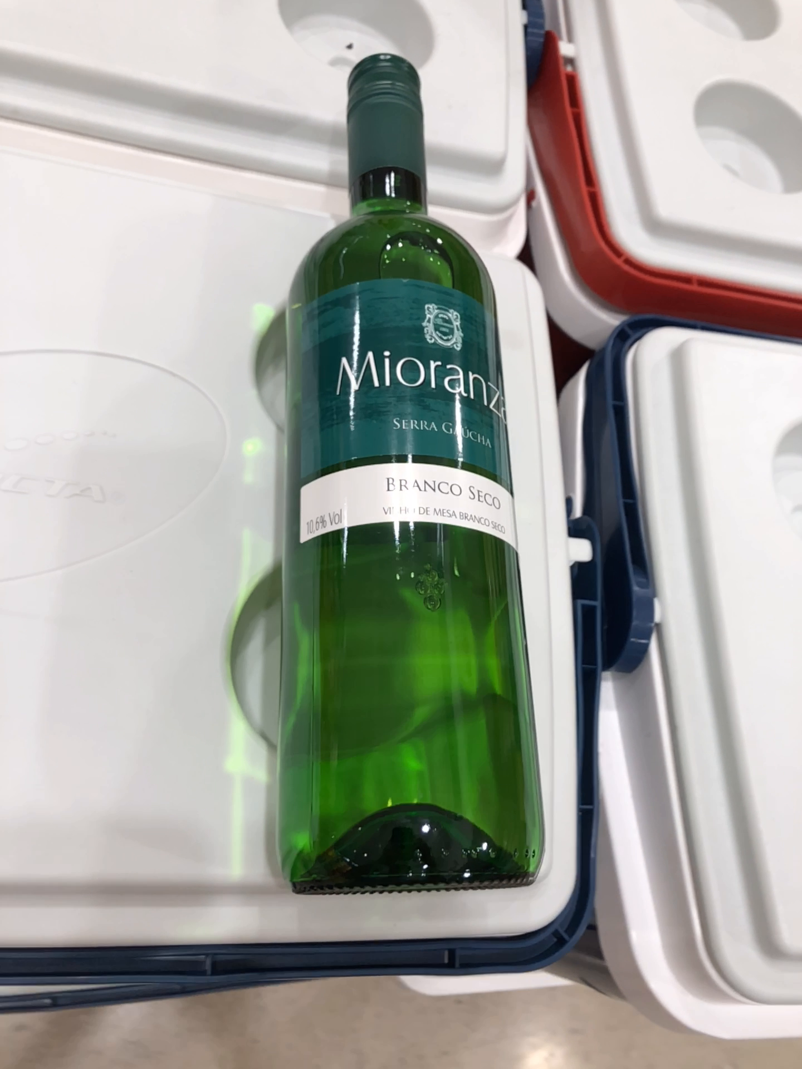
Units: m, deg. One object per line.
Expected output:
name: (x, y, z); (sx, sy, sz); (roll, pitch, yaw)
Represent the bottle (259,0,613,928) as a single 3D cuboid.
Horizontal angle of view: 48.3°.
bottle: (-0.001, -0.059, 0.319); (0.080, 0.070, 0.361); (4, 65, -14)
